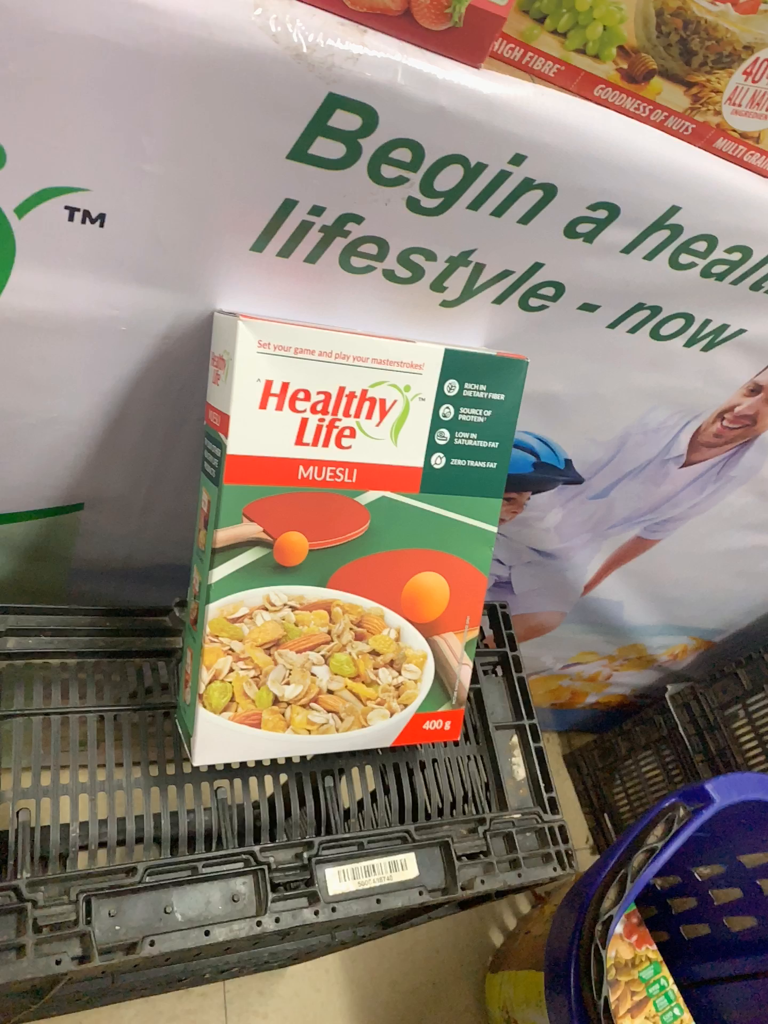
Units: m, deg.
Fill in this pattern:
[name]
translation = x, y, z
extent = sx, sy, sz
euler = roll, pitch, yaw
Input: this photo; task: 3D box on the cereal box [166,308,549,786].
[cereal box]
translation = -0.020, 0.016, 0.437
extent = 0.170, 0.230, 0.080
euler = 2, 12, -25
